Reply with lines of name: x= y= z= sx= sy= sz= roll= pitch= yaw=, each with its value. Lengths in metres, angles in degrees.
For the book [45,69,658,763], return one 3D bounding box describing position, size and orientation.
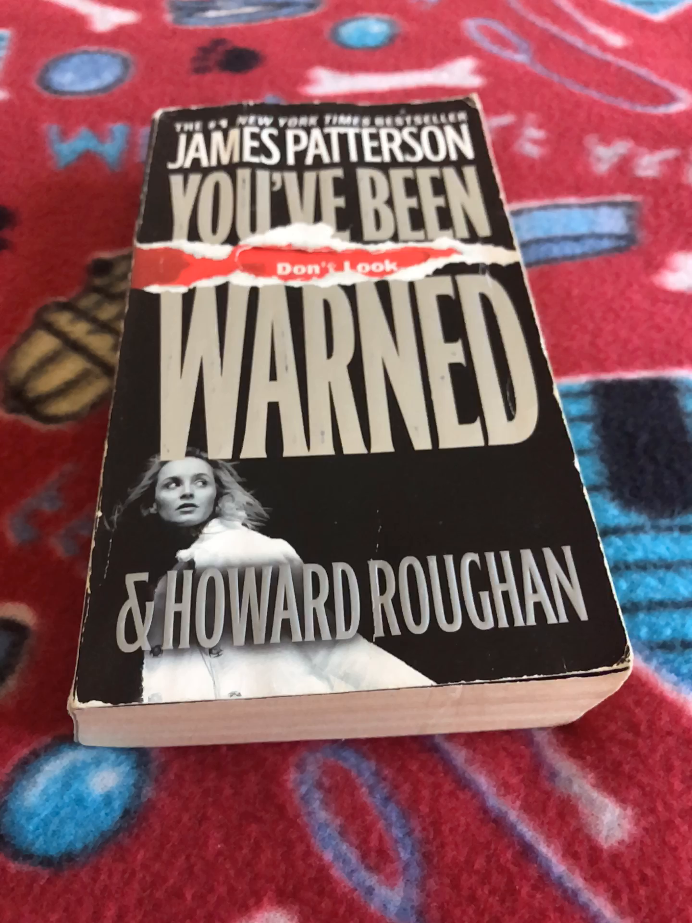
book: x=-0.004 y=-0.027 z=0.206 sx=0.110 sy=0.040 sz=0.191 roll=-2 pitch=59 yaw=-4
